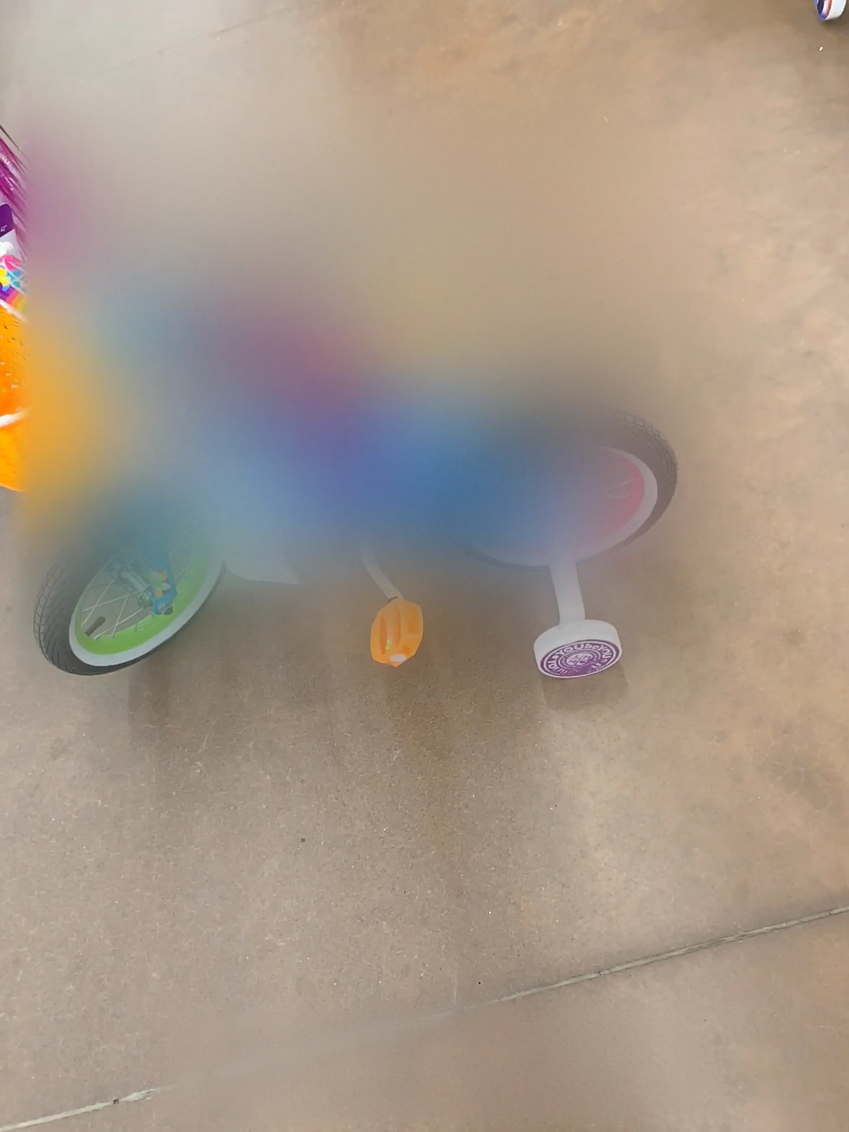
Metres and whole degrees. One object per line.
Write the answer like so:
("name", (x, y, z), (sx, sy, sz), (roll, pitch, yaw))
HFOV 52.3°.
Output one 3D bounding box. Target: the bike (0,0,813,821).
("bike", (-0.152, -0.186, 0.976), (0.815, 0.664, 0.554), (-17, 54, 0))
